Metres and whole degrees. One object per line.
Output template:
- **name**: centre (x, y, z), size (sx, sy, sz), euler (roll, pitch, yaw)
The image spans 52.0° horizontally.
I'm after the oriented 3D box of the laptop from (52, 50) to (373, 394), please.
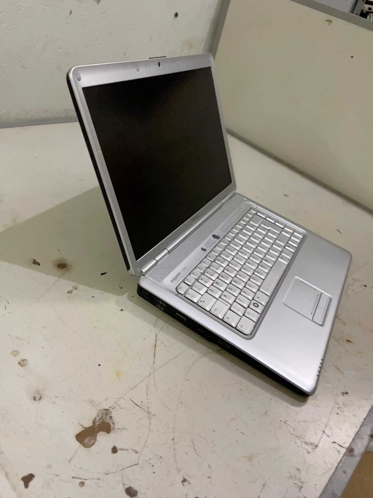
- **laptop**: centre (0.087, -0.092, 0.542), size (0.377, 0.208, 0.351), euler (30, 37, 13)
